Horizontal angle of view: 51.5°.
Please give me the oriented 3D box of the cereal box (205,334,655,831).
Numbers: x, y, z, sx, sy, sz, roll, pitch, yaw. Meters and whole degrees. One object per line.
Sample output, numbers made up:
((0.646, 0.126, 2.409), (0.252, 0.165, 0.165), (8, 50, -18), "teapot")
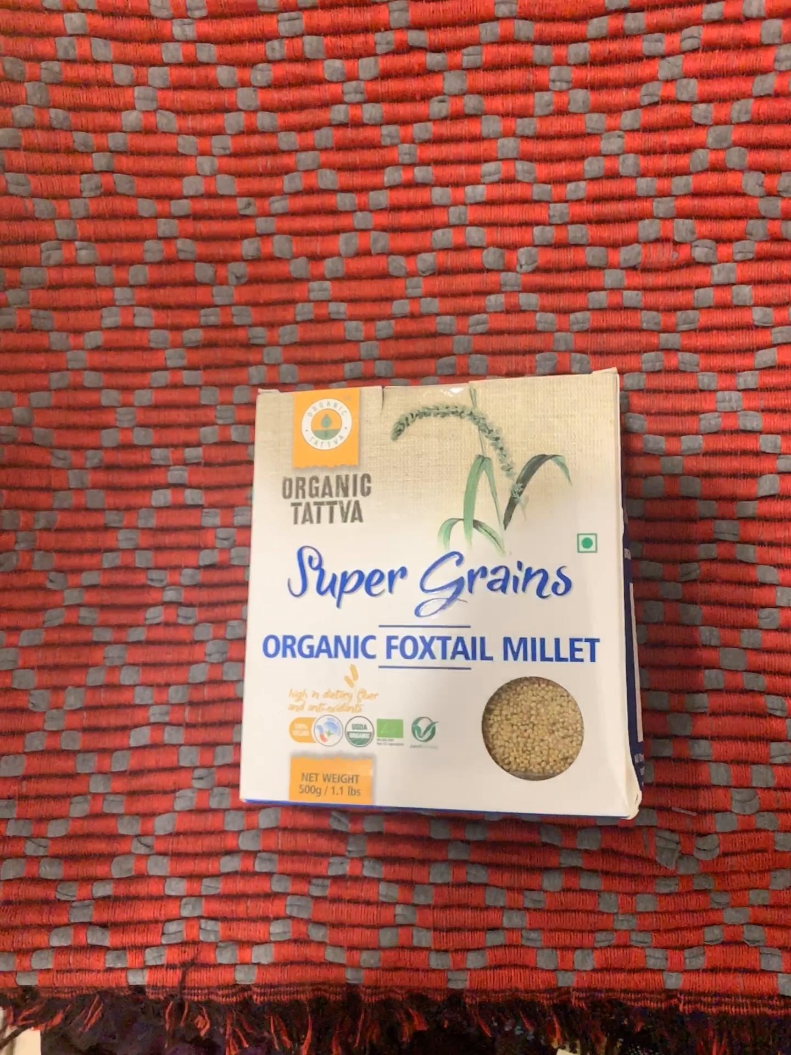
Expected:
((0.013, 0.019, 0.292), (0.140, 0.060, 0.150), (-1, 81, 13), "cereal box")
